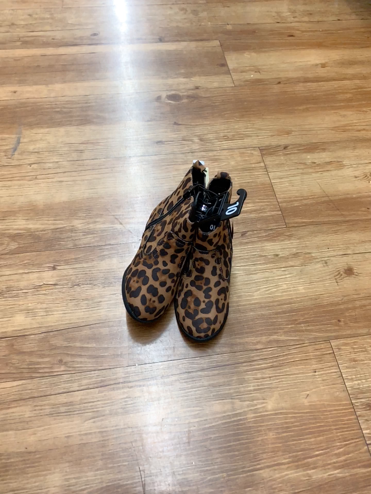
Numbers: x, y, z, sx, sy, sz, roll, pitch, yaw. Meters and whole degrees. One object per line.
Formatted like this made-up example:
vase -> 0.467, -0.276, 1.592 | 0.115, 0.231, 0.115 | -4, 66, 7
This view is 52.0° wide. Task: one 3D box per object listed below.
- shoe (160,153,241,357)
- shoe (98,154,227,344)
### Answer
shoe -> 0.019, 0.008, 0.428 | 0.070, 0.120, 0.191 | 5, 56, 1
shoe -> -0.024, 0.004, 0.448 | 0.070, 0.120, 0.181 | 25, 54, -20
